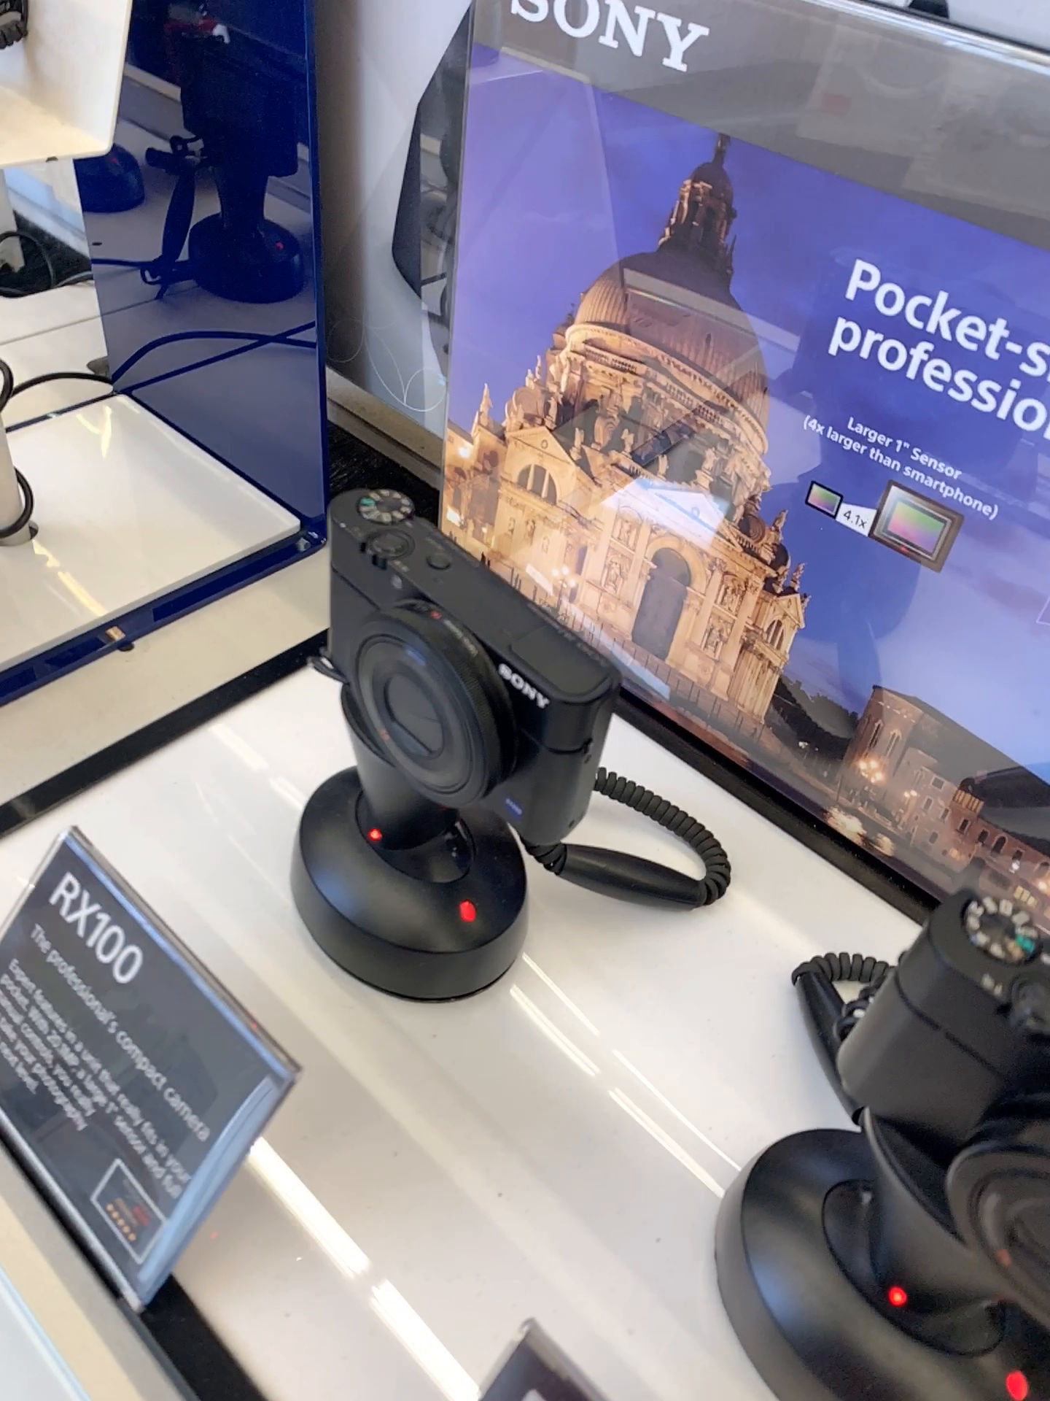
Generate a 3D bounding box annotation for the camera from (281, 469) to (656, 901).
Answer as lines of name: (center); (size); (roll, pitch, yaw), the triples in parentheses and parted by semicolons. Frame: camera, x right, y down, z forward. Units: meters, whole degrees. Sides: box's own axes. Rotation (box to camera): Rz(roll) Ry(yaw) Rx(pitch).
camera: (-0.020, -0.007, 0.303); (0.100, 0.069, 0.040); (37, 51, 27)
